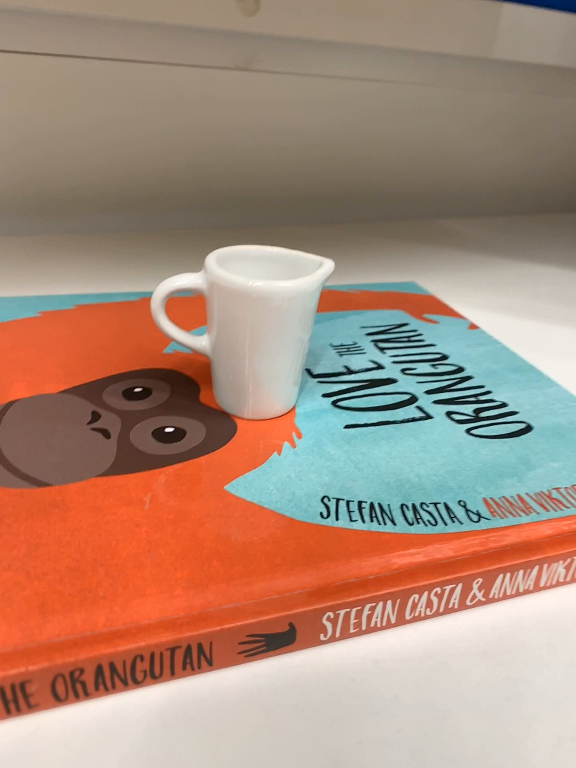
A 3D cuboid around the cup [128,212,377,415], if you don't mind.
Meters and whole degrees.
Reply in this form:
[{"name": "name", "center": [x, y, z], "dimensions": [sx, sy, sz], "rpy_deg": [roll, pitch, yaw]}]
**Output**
[{"name": "cup", "center": [-0.015, -0.025, 0.201], "dimensions": [0.070, 0.050, 0.050], "rpy_deg": [0, 29, -10]}]
